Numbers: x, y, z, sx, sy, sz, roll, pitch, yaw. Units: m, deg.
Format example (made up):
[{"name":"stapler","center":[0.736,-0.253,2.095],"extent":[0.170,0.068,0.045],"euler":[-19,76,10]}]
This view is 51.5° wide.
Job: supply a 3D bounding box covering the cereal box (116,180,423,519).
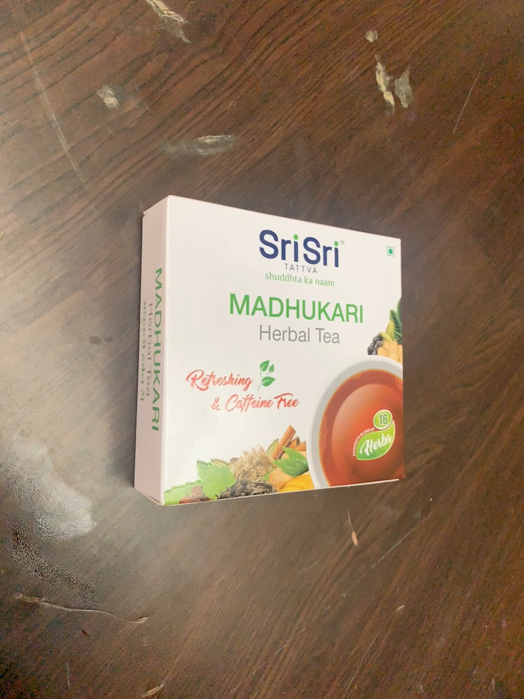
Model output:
[{"name":"cereal box","center":[0.008,0.002,0.242],"extent":[0.130,0.040,0.120],"euler":[3,89,-30]}]
